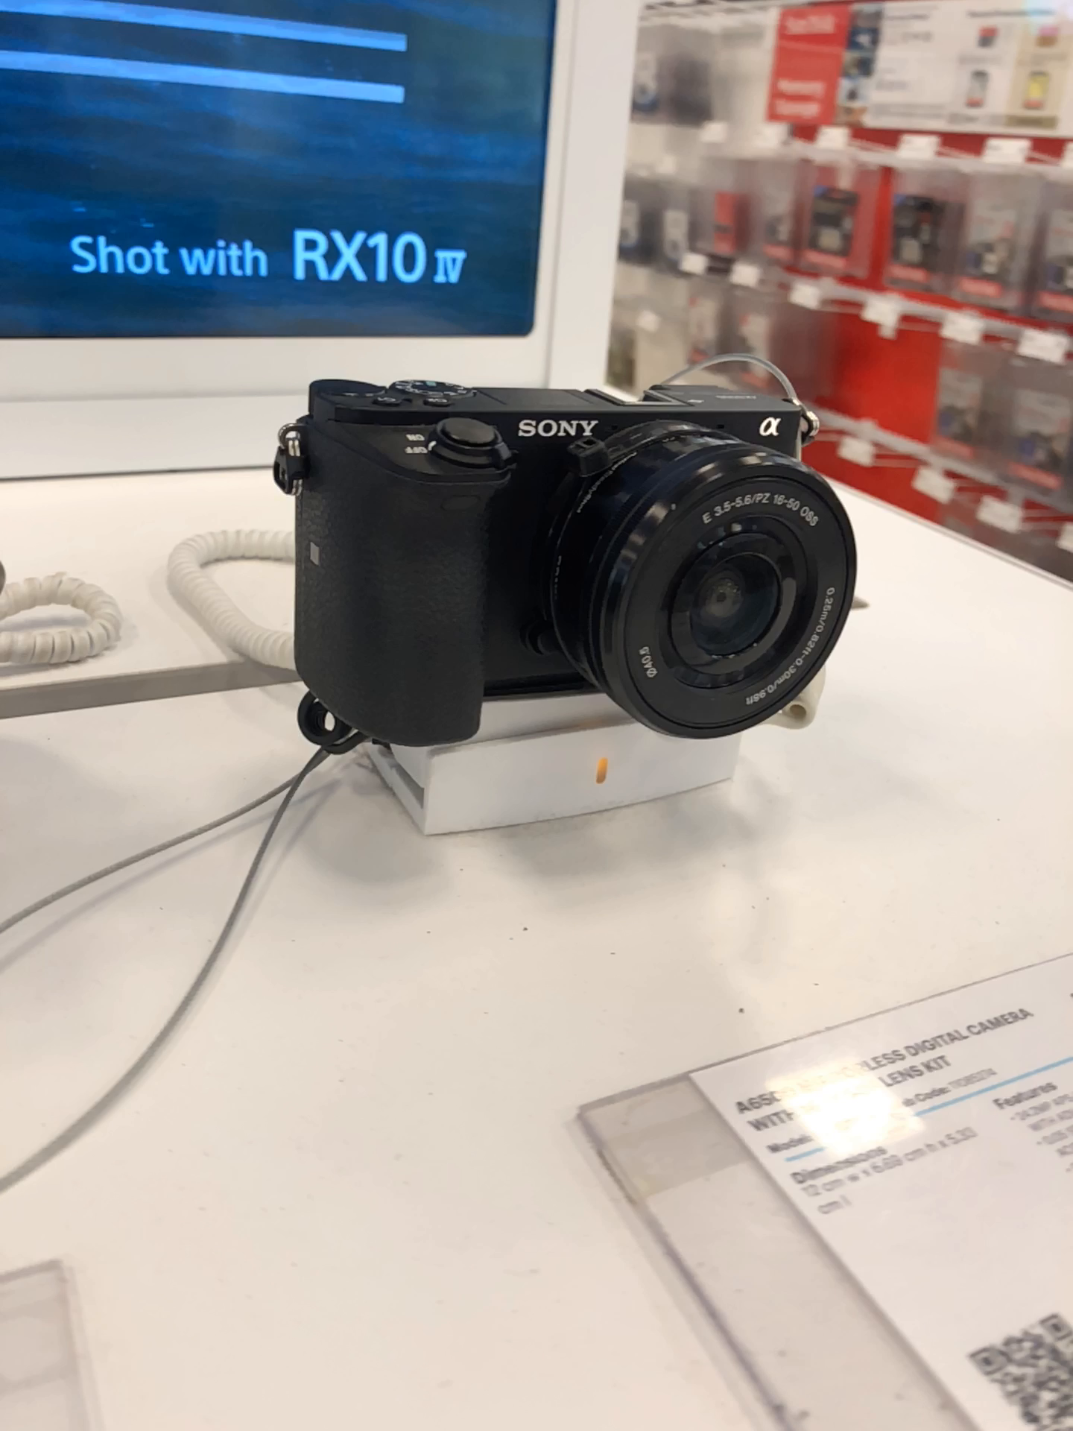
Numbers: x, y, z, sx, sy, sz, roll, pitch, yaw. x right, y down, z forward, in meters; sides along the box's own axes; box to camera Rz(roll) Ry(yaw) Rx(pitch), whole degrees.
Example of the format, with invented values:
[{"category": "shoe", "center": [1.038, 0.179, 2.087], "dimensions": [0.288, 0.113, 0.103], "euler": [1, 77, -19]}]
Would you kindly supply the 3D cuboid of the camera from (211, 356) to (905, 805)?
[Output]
[{"category": "camera", "center": [0.002, -0.038, 0.269], "dimensions": [0.130, 0.070, 0.070], "euler": [-9, 28, -26]}]
